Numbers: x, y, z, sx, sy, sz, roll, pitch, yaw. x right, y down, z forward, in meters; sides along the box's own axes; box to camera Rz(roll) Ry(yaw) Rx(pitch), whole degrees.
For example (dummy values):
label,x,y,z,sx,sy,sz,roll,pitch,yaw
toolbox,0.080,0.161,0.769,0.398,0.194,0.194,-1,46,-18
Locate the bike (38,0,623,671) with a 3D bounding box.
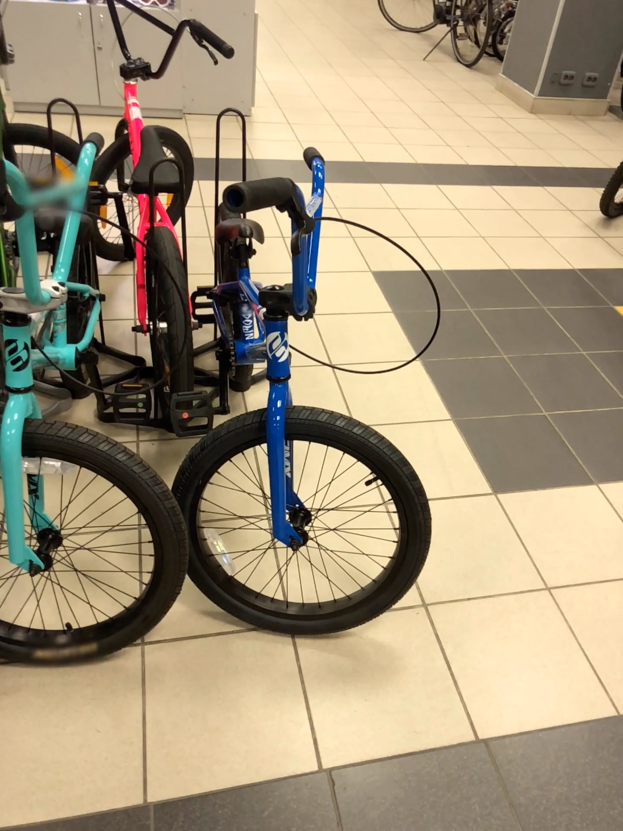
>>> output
label,x,y,z,sx,sy,sz,roll,pitch,yaw
bike,-0.052,-0.292,1.571,0.822,0.961,1.262,-9,40,-20
